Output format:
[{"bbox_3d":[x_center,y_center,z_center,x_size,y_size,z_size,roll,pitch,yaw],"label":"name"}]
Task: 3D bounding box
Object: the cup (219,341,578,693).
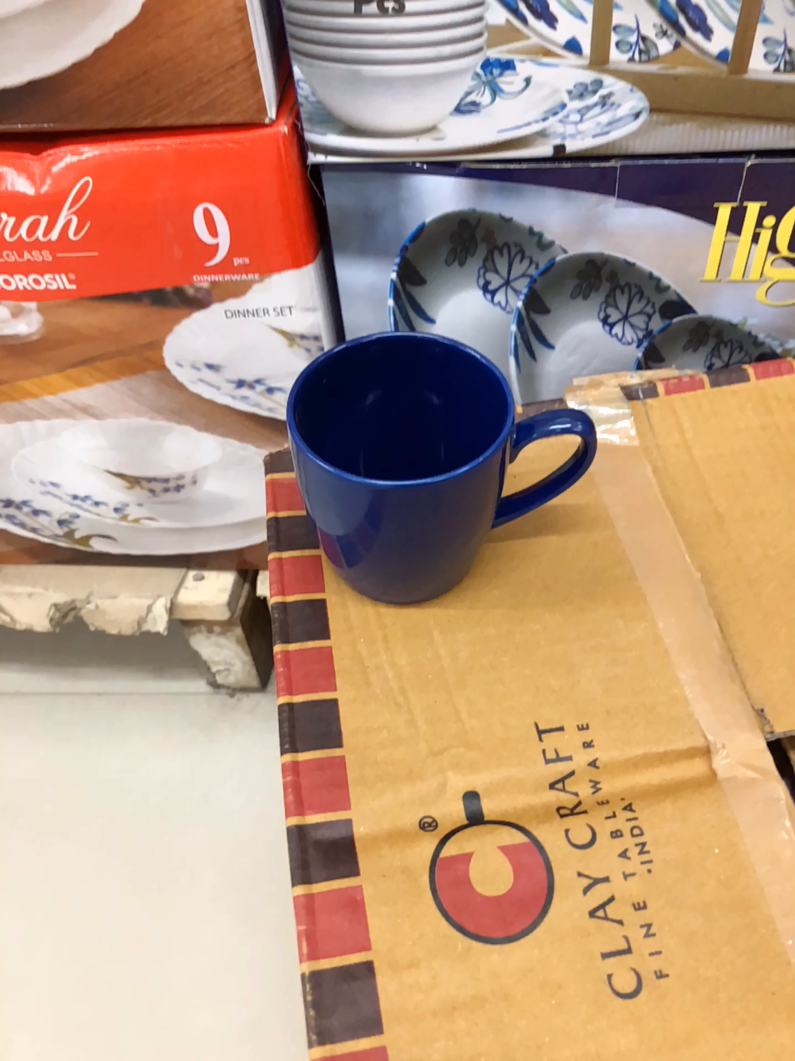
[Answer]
[{"bbox_3d":[0.001,-0.004,0.296,0.100,0.080,0.070,-8,47,0],"label":"cup"}]
